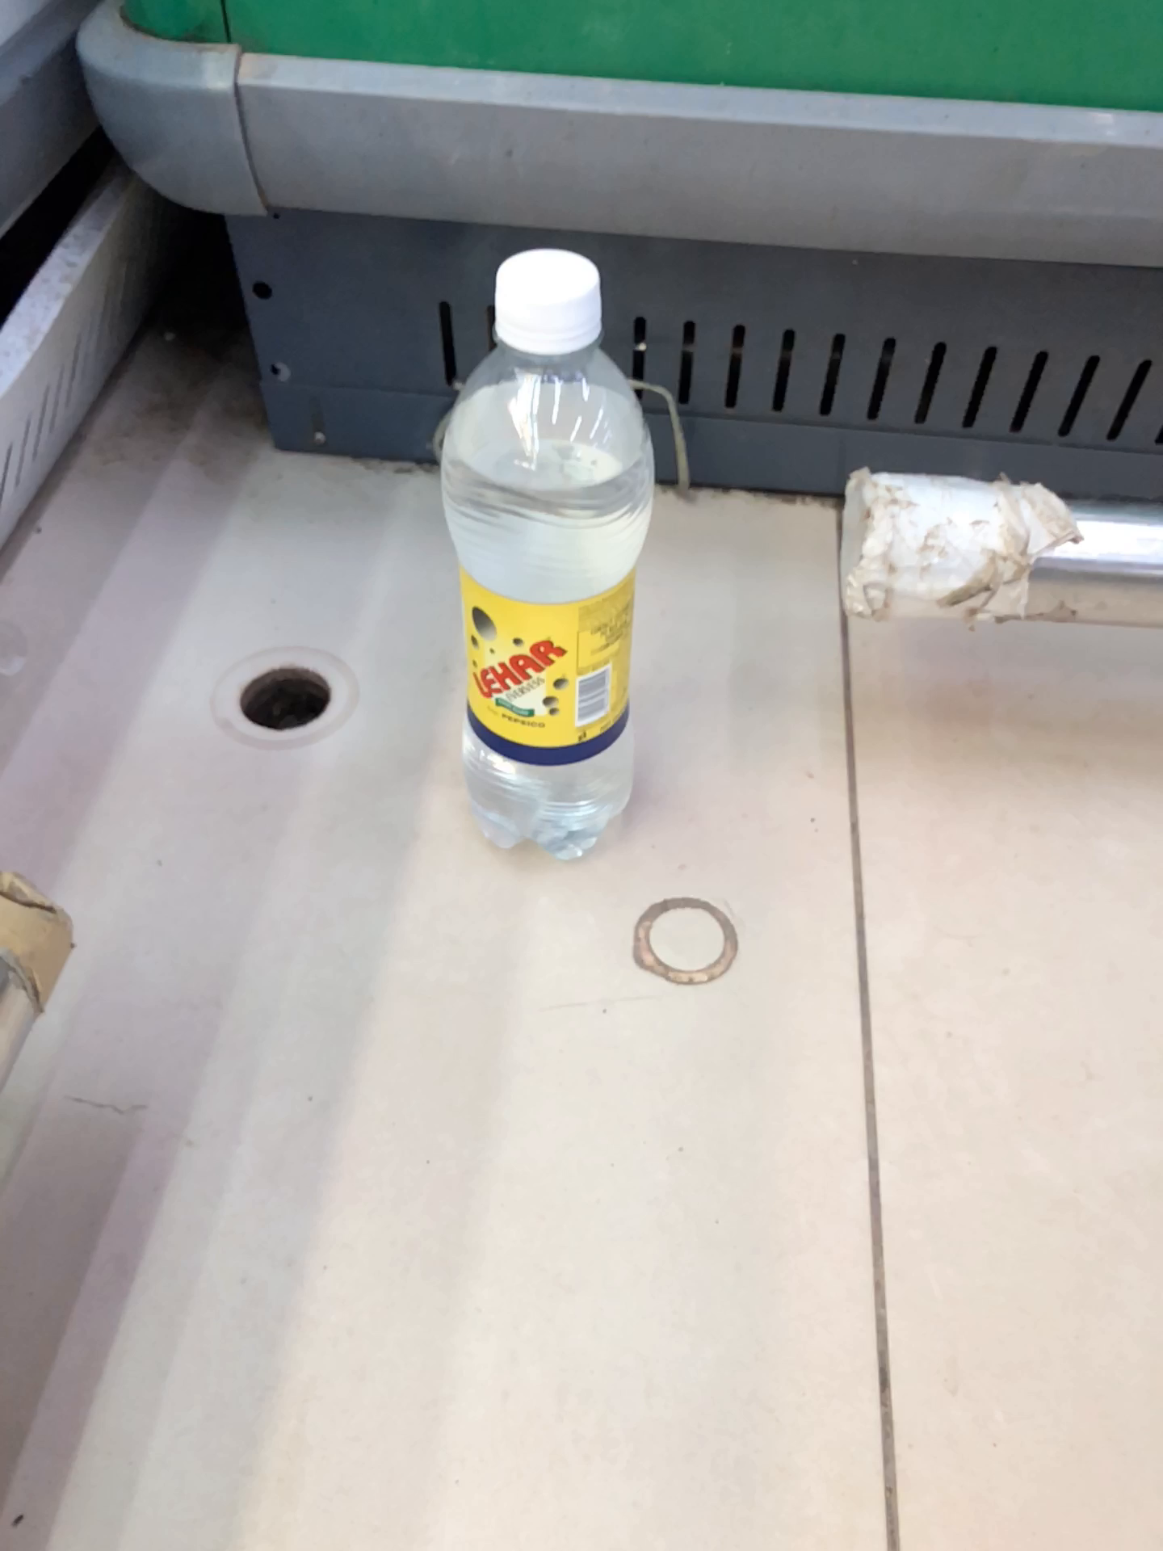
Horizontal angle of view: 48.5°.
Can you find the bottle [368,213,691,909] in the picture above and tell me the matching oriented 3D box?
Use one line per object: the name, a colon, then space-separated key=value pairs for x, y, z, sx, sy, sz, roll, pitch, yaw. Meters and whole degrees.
bottle: x=-0.014 y=-0.060 z=0.445 sx=0.070 sy=0.228 sz=0.071 roll=1 pitch=47 yaw=-1
